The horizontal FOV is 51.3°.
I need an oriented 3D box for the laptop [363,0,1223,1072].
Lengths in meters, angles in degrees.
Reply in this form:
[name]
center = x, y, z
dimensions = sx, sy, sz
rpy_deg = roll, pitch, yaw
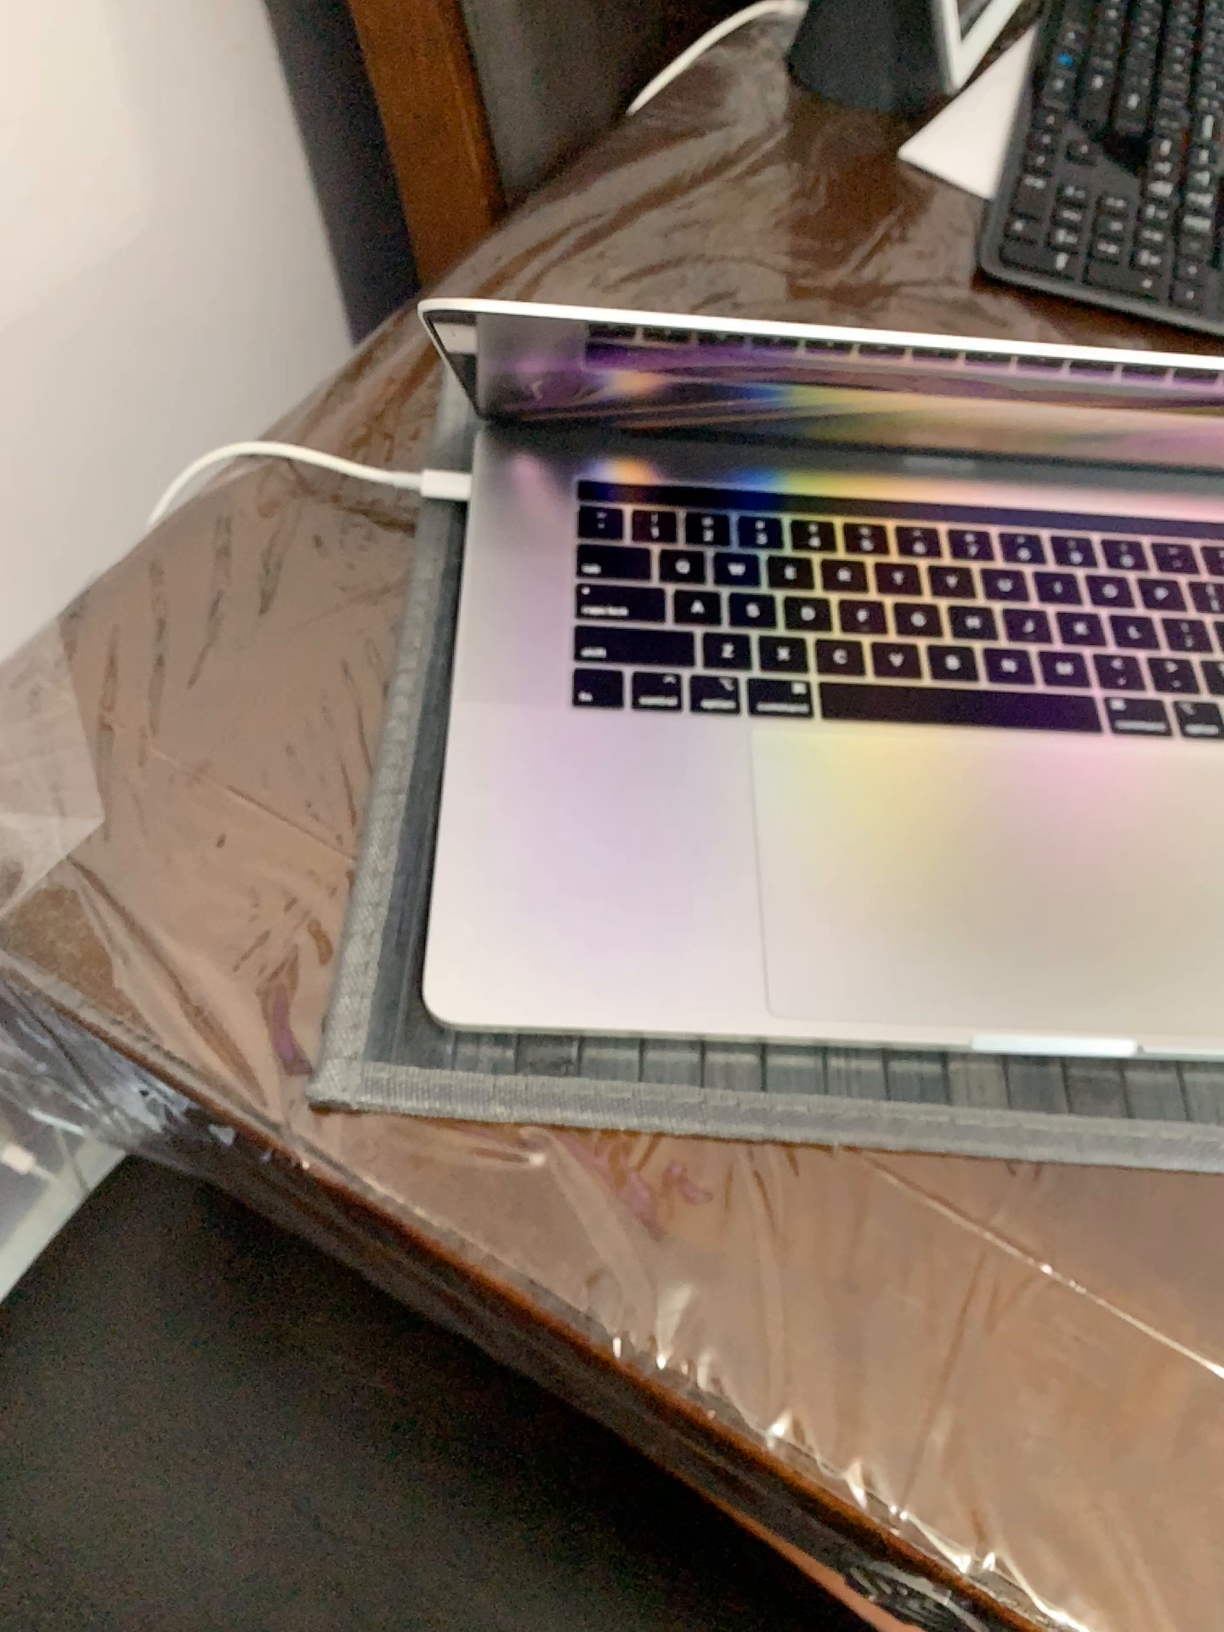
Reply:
[laptop]
center = 0.126, -0.081, 0.344
dimensions = 0.342, 0.166, 0.233
rpy_deg = 3, 57, -3
